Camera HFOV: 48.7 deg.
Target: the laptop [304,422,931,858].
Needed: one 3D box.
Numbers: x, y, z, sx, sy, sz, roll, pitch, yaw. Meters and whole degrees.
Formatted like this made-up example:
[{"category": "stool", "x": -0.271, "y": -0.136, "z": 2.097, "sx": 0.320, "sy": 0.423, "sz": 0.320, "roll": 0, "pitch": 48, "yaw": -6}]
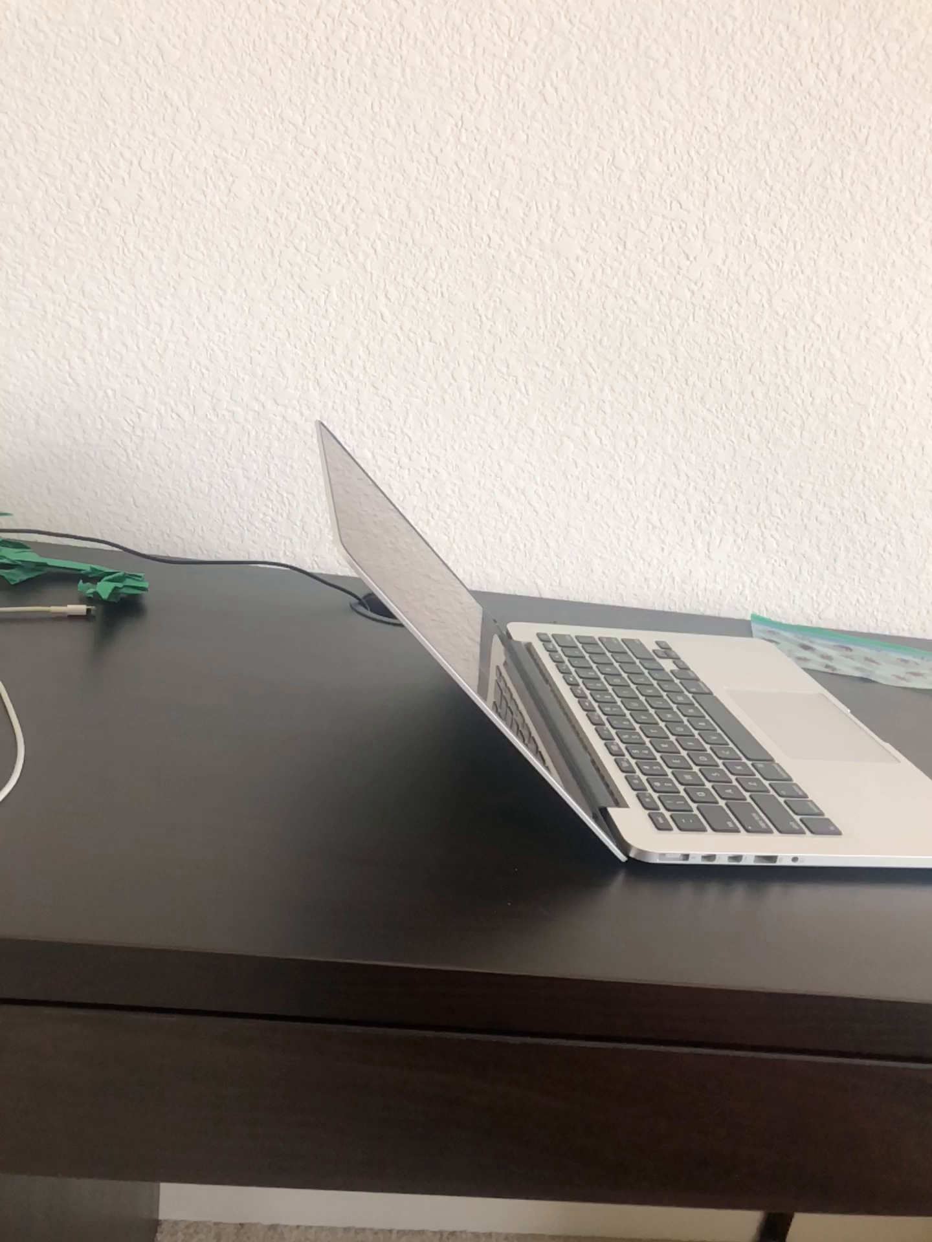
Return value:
[{"category": "laptop", "x": 0.093, "y": -0.007, "z": 0.623, "sx": 0.362, "sy": 0.133, "sz": 0.310, "roll": 4, "pitch": 20, "yaw": -11}]
